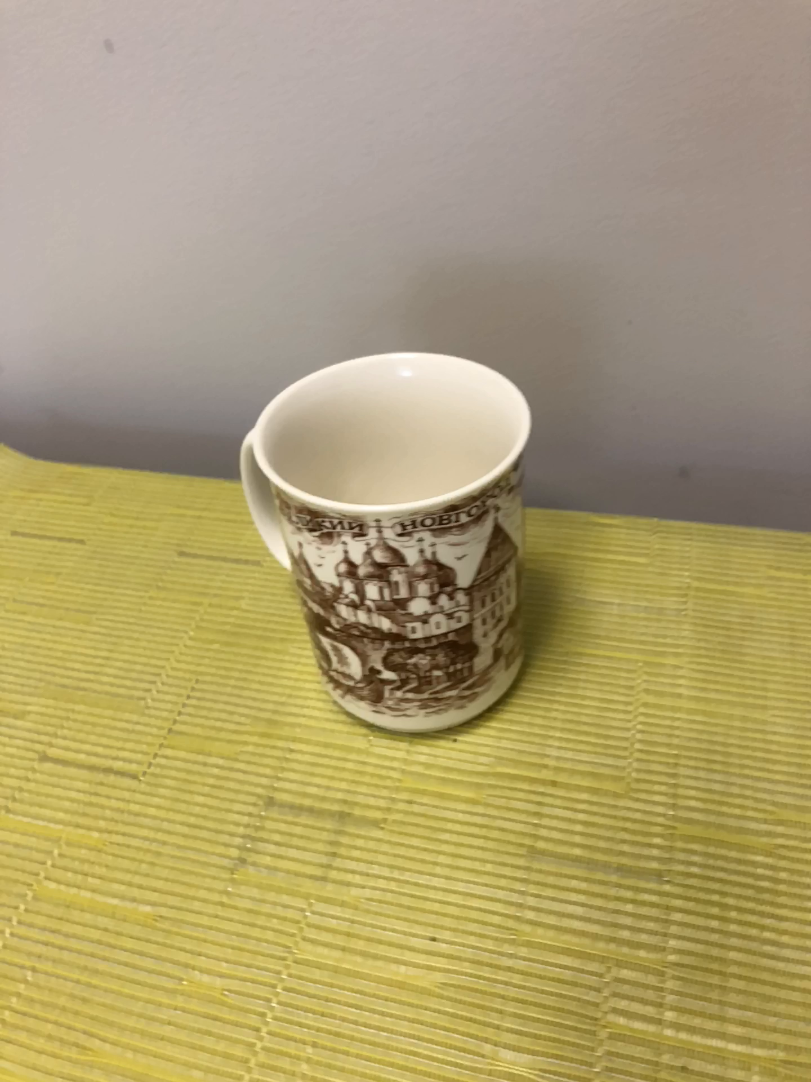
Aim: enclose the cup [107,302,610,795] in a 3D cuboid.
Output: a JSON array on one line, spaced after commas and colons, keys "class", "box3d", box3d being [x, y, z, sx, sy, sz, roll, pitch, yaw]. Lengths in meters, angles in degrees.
[{"class": "cup", "box3d": [-0.012, -0.006, 0.308, 0.124, 0.092, 0.094, 26, 50, 33]}]
